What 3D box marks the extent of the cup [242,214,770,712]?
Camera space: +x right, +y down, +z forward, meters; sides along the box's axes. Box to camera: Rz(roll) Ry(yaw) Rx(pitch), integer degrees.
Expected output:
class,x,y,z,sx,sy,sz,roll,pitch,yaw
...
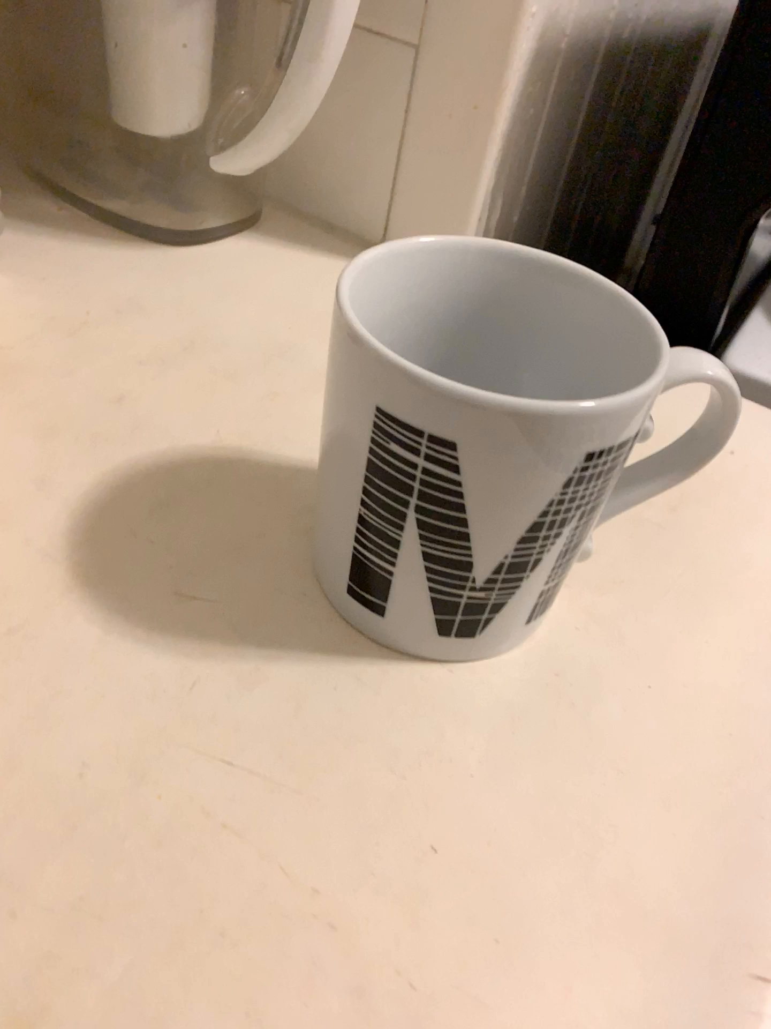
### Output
class,x,y,z,sx,sy,sz,roll,pitch,yaw
cup,0.026,-0.016,0.254,0.130,0.109,0.101,0,42,-14

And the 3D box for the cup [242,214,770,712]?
class,x,y,z,sx,sy,sz,roll,pitch,yaw
cup,0.026,-0.016,0.254,0.130,0.109,0.101,0,42,-14
